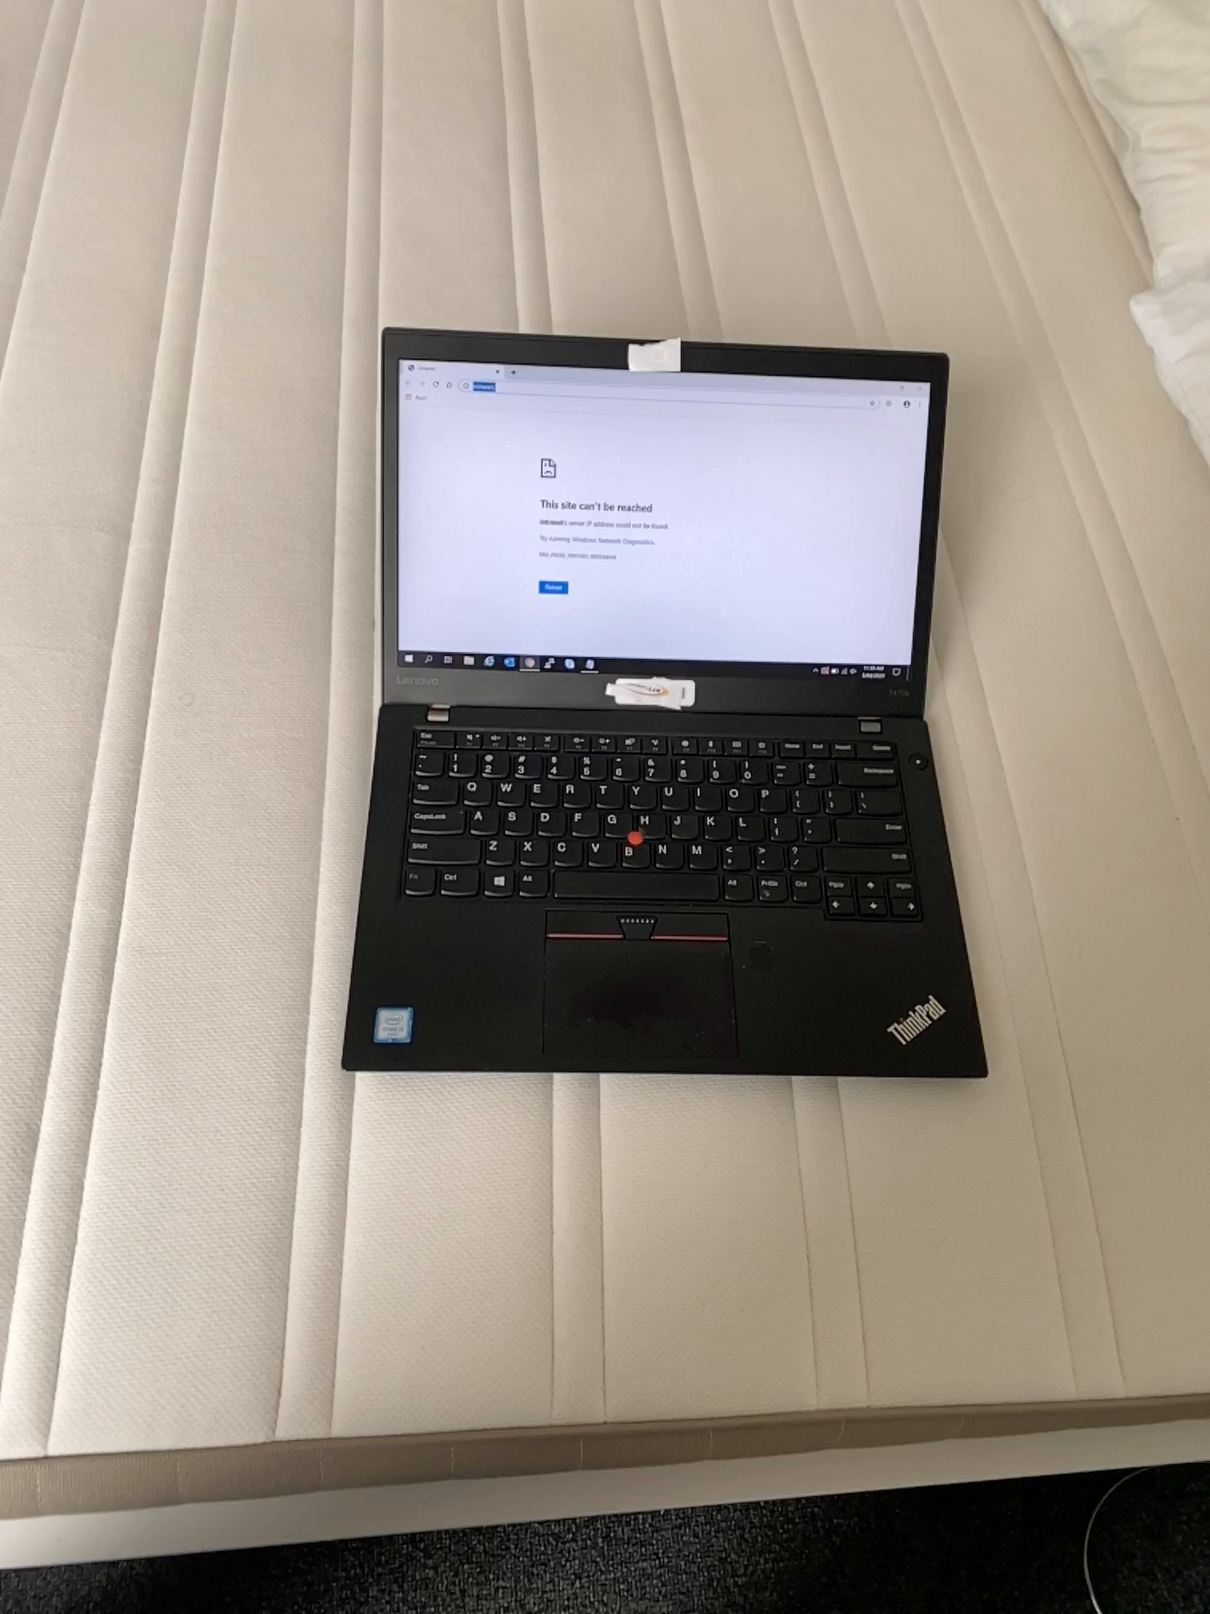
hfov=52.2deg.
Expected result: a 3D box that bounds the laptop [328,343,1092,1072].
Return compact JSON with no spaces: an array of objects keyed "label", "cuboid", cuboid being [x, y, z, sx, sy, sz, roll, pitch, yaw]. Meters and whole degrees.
[{"label":"laptop","cuboid":[0.040,-0.063,0.663,0.320,0.120,0.382,2,58,-5]}]
